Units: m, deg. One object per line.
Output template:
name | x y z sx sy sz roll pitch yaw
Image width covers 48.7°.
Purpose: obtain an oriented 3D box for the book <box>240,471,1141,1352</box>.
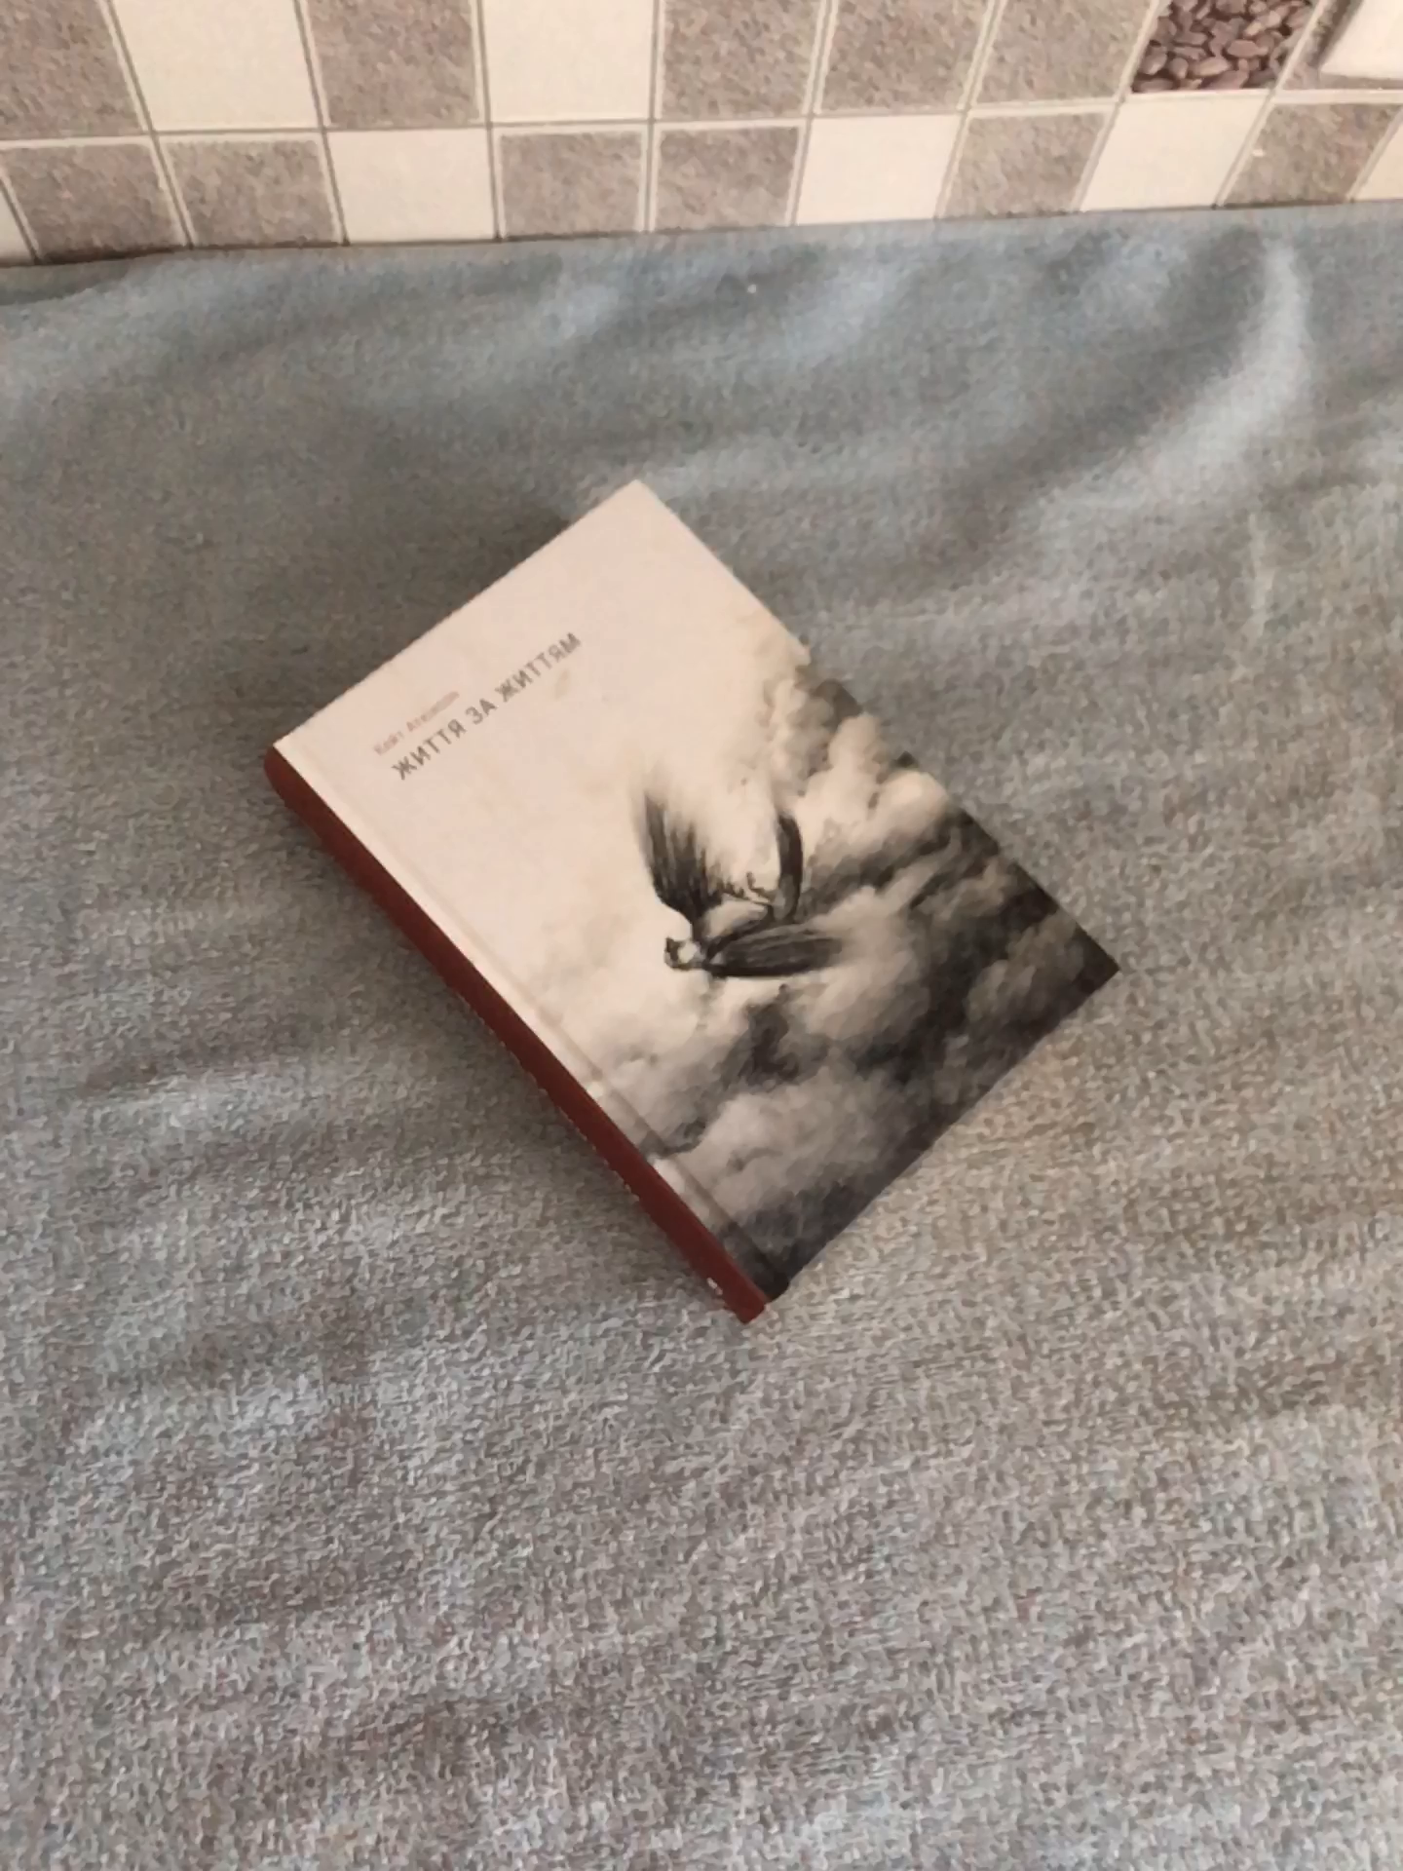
book | -0.004 -0.013 0.470 0.155 0.040 0.220 -41 80 -15
